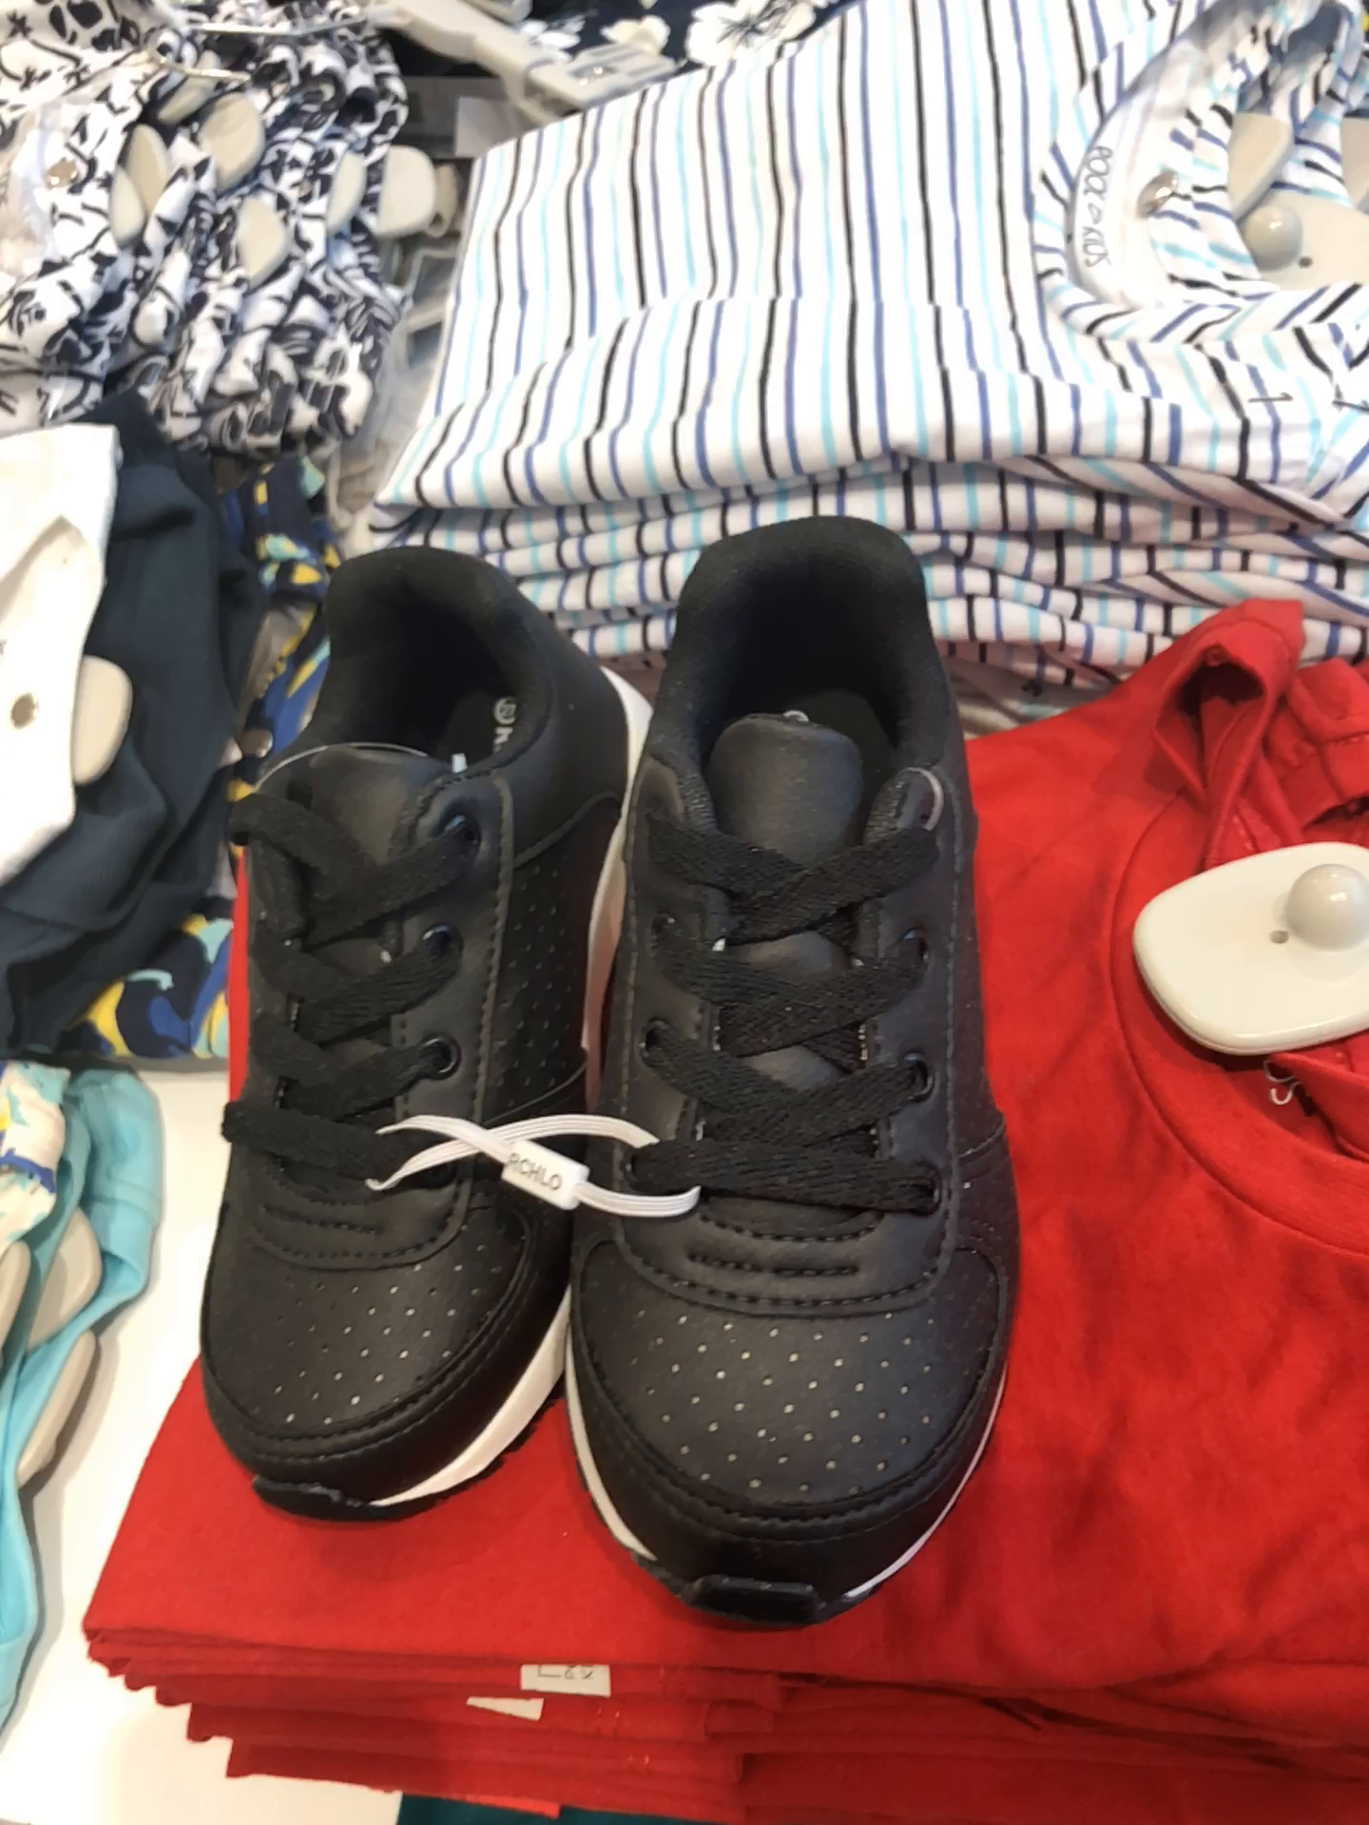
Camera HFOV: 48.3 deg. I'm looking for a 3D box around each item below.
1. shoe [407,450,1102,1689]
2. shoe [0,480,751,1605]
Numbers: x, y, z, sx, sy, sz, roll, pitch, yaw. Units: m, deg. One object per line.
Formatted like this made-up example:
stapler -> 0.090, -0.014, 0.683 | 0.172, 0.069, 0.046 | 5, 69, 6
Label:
shoe -> 0.018, 0.020, 0.263 | 0.080, 0.086, 0.191 | 1, 57, 6
shoe -> -0.043, 0.018, 0.277 | 0.080, 0.080, 0.181 | 4, 62, 11
